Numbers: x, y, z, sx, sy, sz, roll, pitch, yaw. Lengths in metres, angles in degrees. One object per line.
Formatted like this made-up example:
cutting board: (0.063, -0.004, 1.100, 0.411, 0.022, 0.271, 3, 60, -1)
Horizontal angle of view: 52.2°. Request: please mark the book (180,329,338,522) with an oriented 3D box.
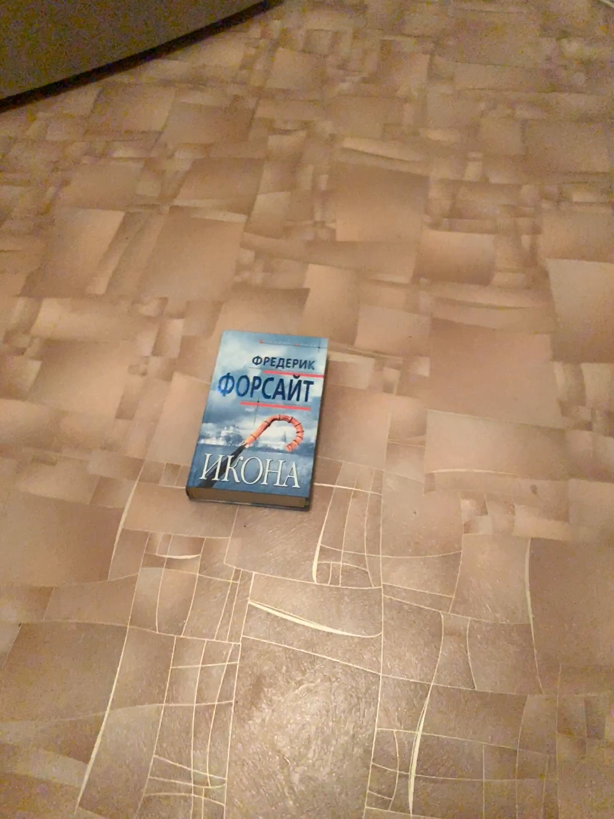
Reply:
book: (-0.050, 0.013, 0.773, 0.152, 0.056, 0.224, 6, 60, 6)
